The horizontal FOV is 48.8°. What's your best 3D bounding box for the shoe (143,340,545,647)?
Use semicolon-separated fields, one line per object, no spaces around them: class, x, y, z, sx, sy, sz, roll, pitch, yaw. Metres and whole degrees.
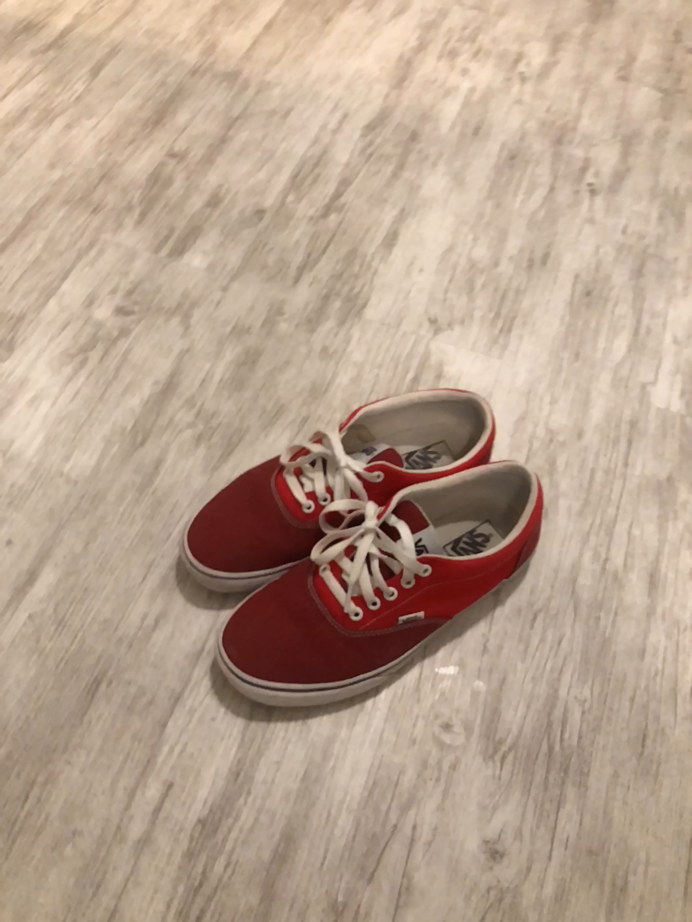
shoe;0.000;0.020;0.591;0.272;0.093;0.110;-23;61;-17

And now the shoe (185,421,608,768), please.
shoe;0.036;0.088;0.544;0.266;0.088;0.110;-26;62;-18
